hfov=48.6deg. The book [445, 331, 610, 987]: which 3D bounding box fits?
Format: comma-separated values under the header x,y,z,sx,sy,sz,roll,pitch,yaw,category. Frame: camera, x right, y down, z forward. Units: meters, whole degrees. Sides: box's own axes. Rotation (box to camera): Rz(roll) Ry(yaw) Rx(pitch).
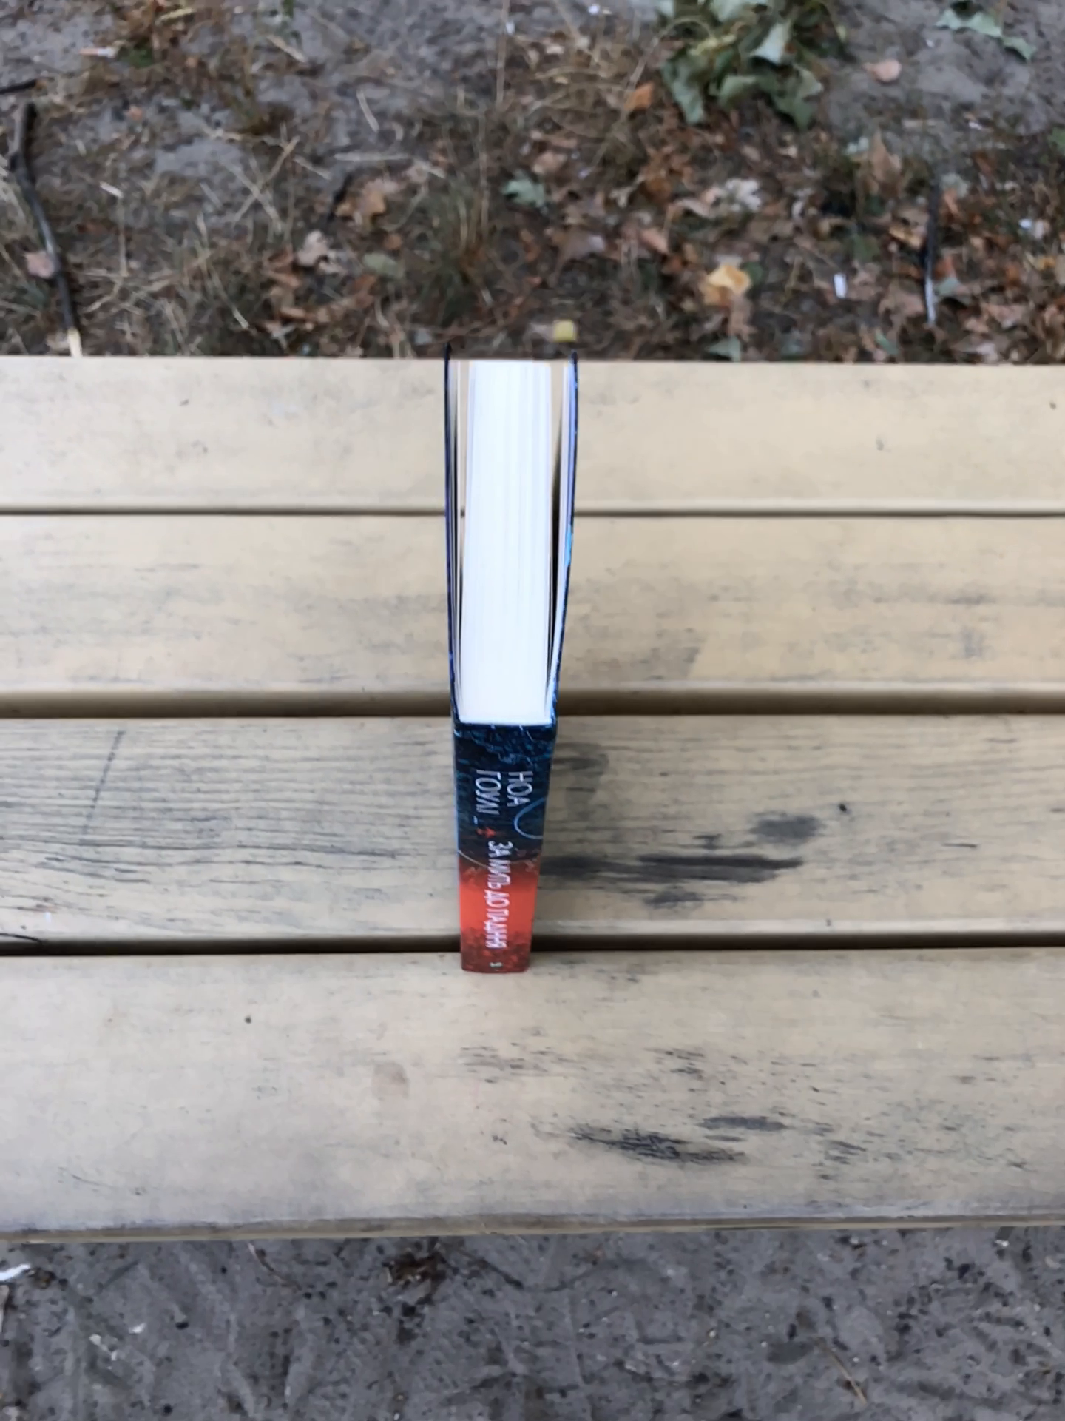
x,y,z,sx,sy,sz,roll,pitch,yaw,category
-0.008,-0.003,0.404,0.040,0.199,0.141,1,61,-3,book
